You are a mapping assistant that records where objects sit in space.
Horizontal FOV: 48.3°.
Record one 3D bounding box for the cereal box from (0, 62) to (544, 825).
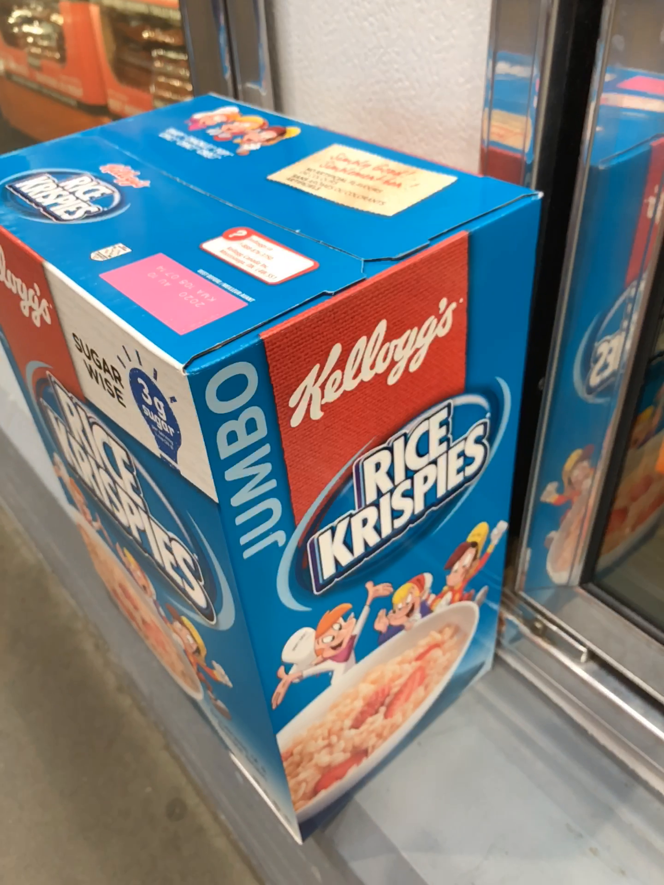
[{"bbox_3d":[-0.045,-0.002,0.413,0.160,0.319,0.241,-33,47,-26],"label":"cereal box"}]
